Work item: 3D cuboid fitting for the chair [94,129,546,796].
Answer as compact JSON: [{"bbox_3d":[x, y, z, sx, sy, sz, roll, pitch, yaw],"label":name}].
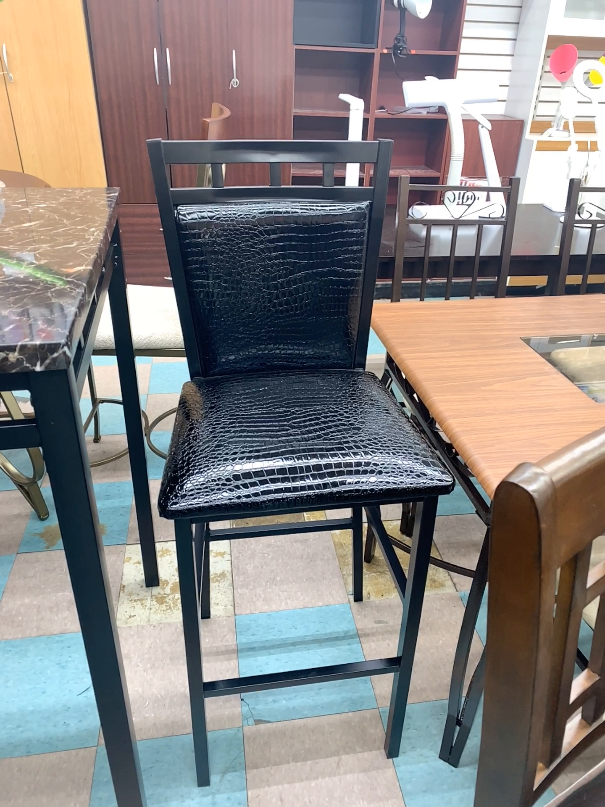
[{"bbox_3d":[-0.011,0.123,1.027,0.444,1.025,0.419,-3,30,-8],"label":"chair"}]
